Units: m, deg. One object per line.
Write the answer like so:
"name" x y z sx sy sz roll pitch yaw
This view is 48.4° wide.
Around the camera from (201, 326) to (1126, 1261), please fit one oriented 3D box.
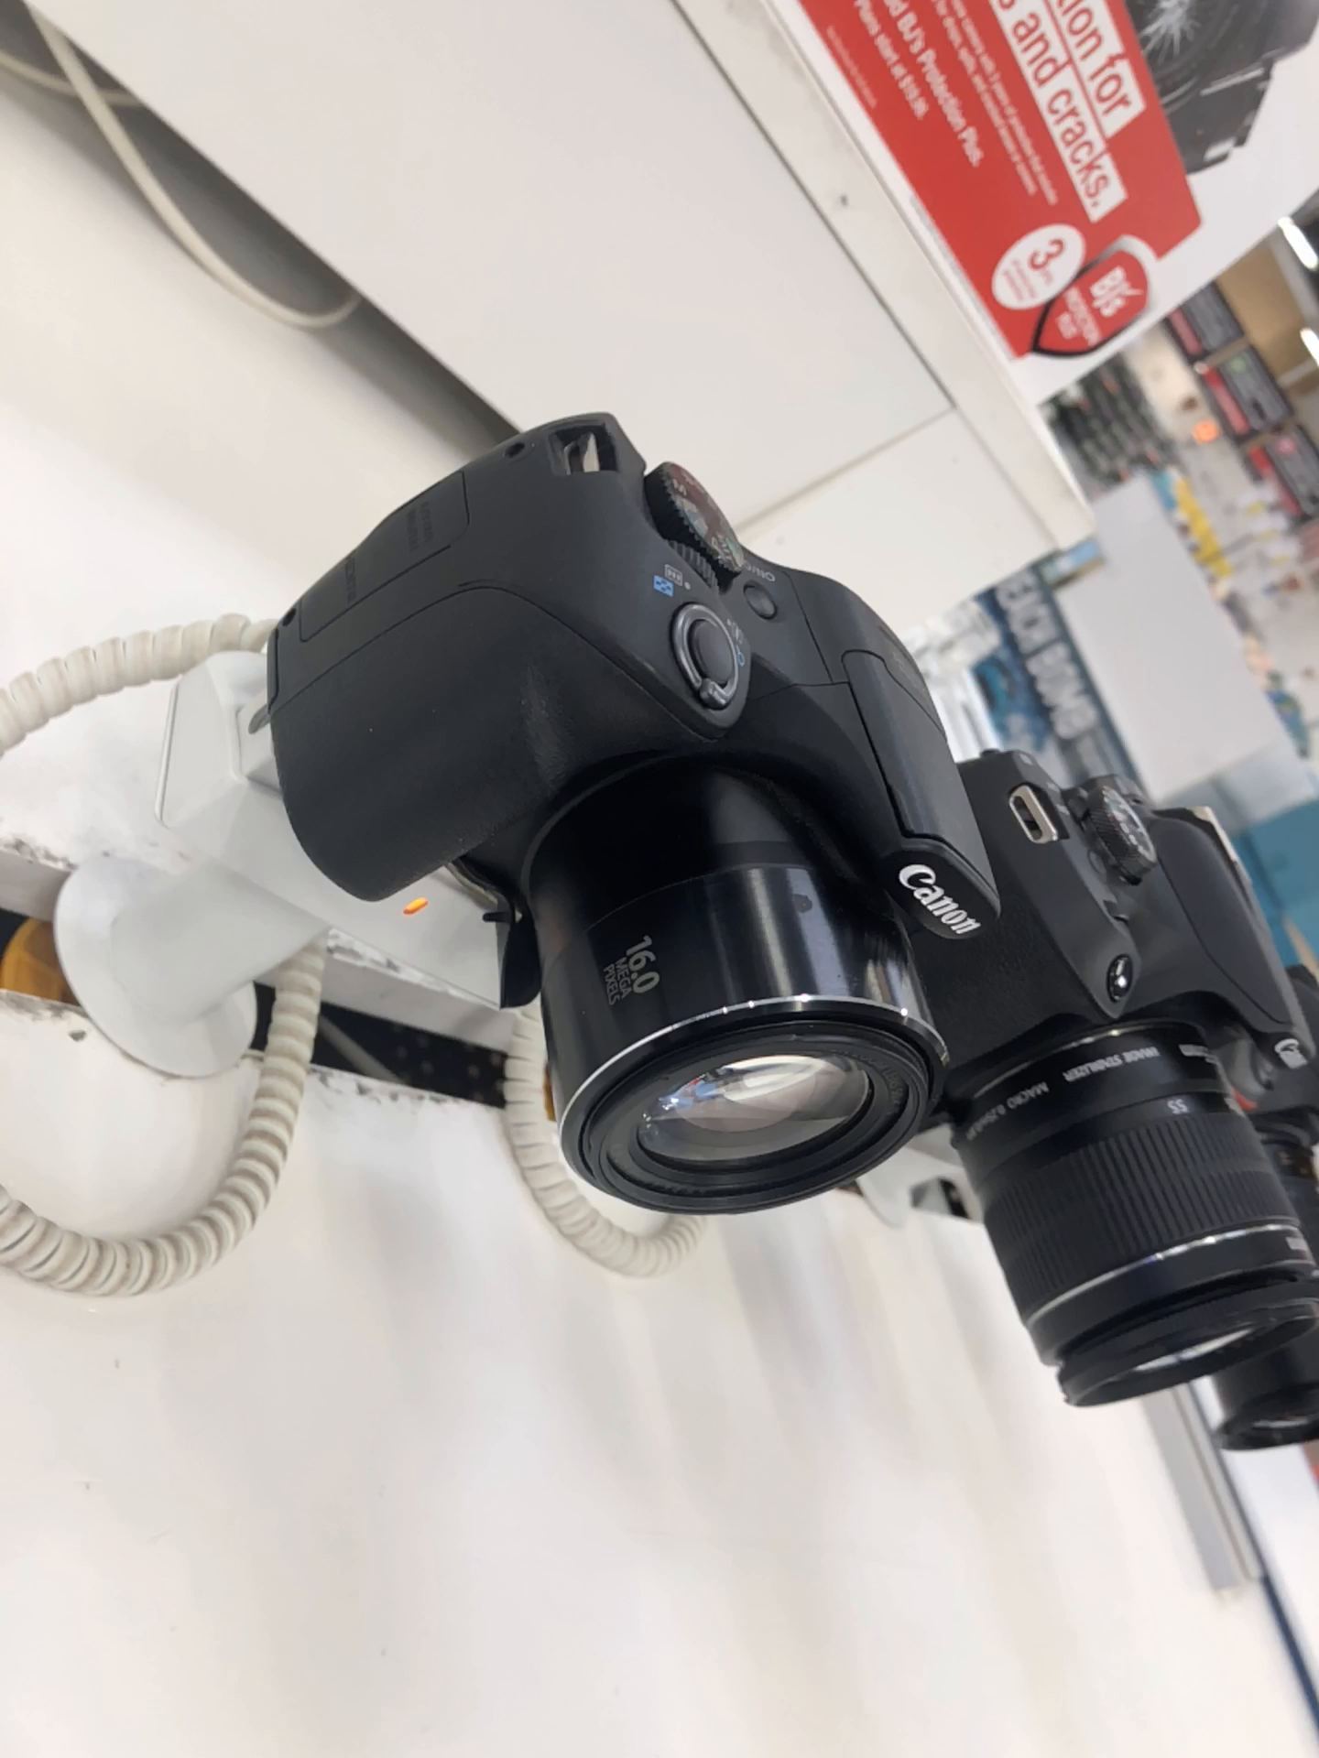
"camera" 0.003 -0.002 0.245 0.120 0.090 0.080 37 33 -47
